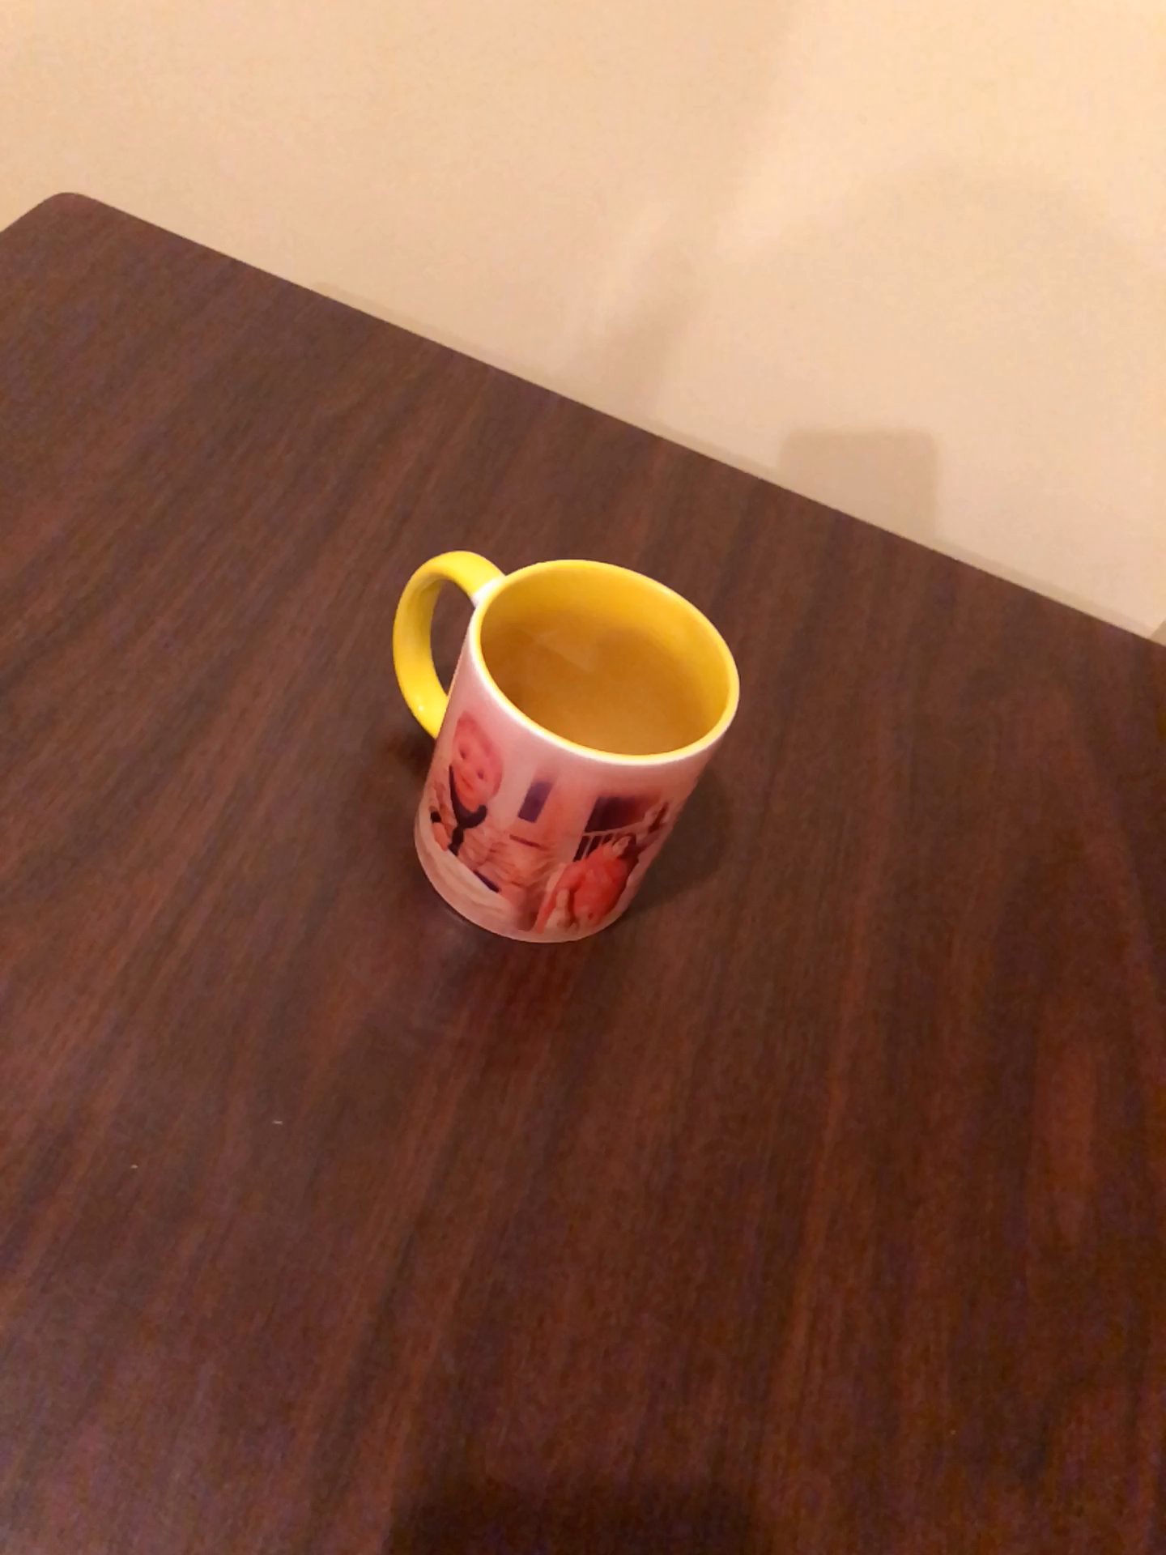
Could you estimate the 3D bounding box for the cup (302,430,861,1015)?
[{"bbox_3d":[-0.005,-0.018,0.395,0.120,0.100,0.090,37,49,12],"label":"cup"}]
